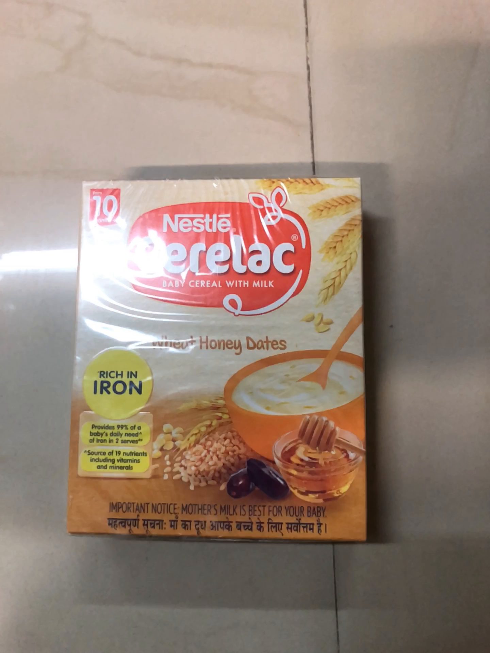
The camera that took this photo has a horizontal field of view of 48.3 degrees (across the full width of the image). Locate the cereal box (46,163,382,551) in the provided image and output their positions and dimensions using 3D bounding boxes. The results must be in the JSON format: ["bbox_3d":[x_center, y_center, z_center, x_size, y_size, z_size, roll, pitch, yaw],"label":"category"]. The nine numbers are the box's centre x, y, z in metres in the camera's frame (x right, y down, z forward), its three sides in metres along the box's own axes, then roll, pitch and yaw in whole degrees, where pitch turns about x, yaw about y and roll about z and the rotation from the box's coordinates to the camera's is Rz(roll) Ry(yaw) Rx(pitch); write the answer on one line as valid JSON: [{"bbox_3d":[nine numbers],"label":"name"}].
[{"bbox_3d":[-0.013,0.014,0.301,0.160,0.060,0.190,0,83,3],"label":"cereal box"}]
